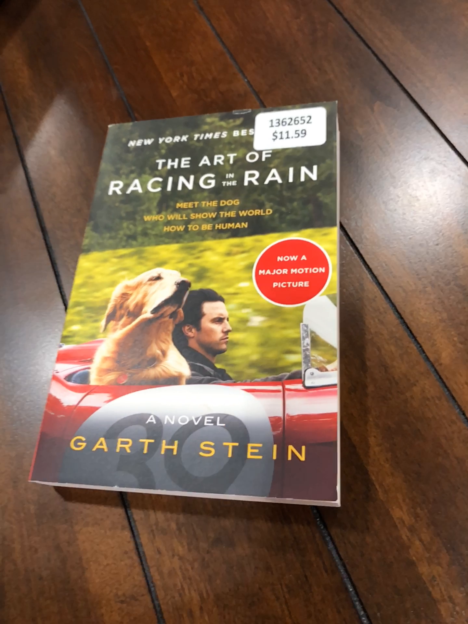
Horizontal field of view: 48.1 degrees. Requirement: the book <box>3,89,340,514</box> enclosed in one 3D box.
[{"bbox_3d":[-0.018,-0.017,0.264,0.140,0.028,0.210,-1,65,13],"label":"book"}]
